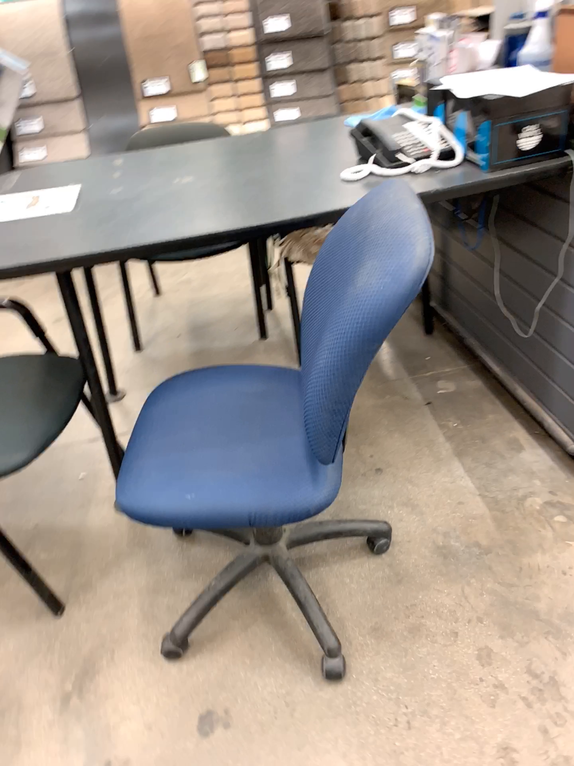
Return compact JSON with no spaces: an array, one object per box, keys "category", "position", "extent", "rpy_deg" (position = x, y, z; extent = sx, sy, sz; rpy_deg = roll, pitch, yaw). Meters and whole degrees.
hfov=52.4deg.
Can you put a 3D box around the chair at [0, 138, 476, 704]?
[{"category":"chair","position":[-0.069,0.068,1.228],"extent":[0.661,0.889,0.701],"rpy_deg":[-5,34,3]}]

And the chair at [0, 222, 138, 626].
[{"category":"chair","position":[-0.823,0.102,1.469],"extent":[0.541,0.800,0.570],"rpy_deg":[-1,35,9]}]
